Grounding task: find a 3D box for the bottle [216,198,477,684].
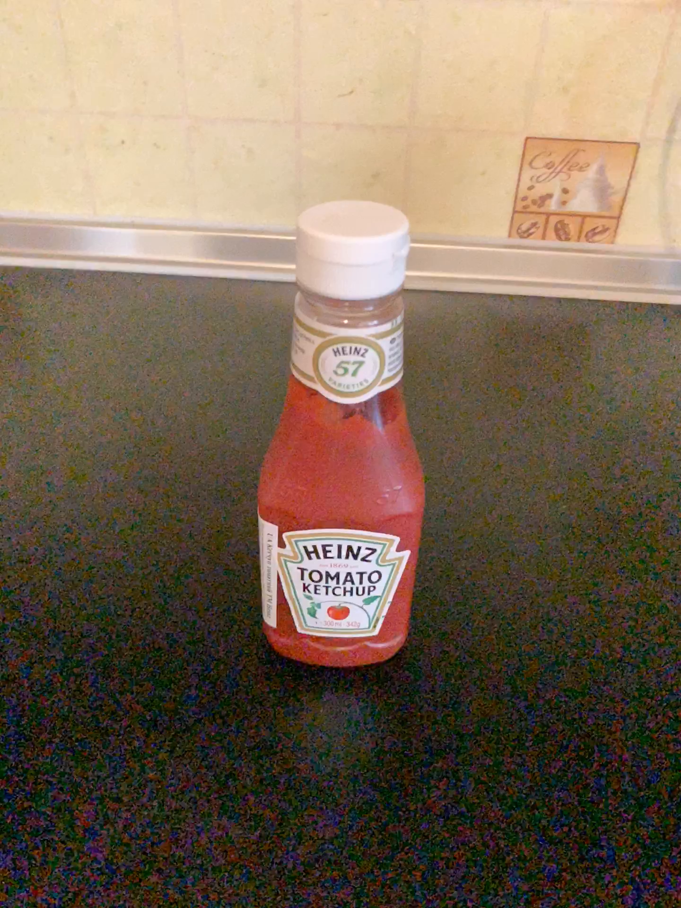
[{"bbox_3d":[-0.001,0.008,0.266,0.070,0.189,0.050,2,38,0],"label":"bottle"}]
